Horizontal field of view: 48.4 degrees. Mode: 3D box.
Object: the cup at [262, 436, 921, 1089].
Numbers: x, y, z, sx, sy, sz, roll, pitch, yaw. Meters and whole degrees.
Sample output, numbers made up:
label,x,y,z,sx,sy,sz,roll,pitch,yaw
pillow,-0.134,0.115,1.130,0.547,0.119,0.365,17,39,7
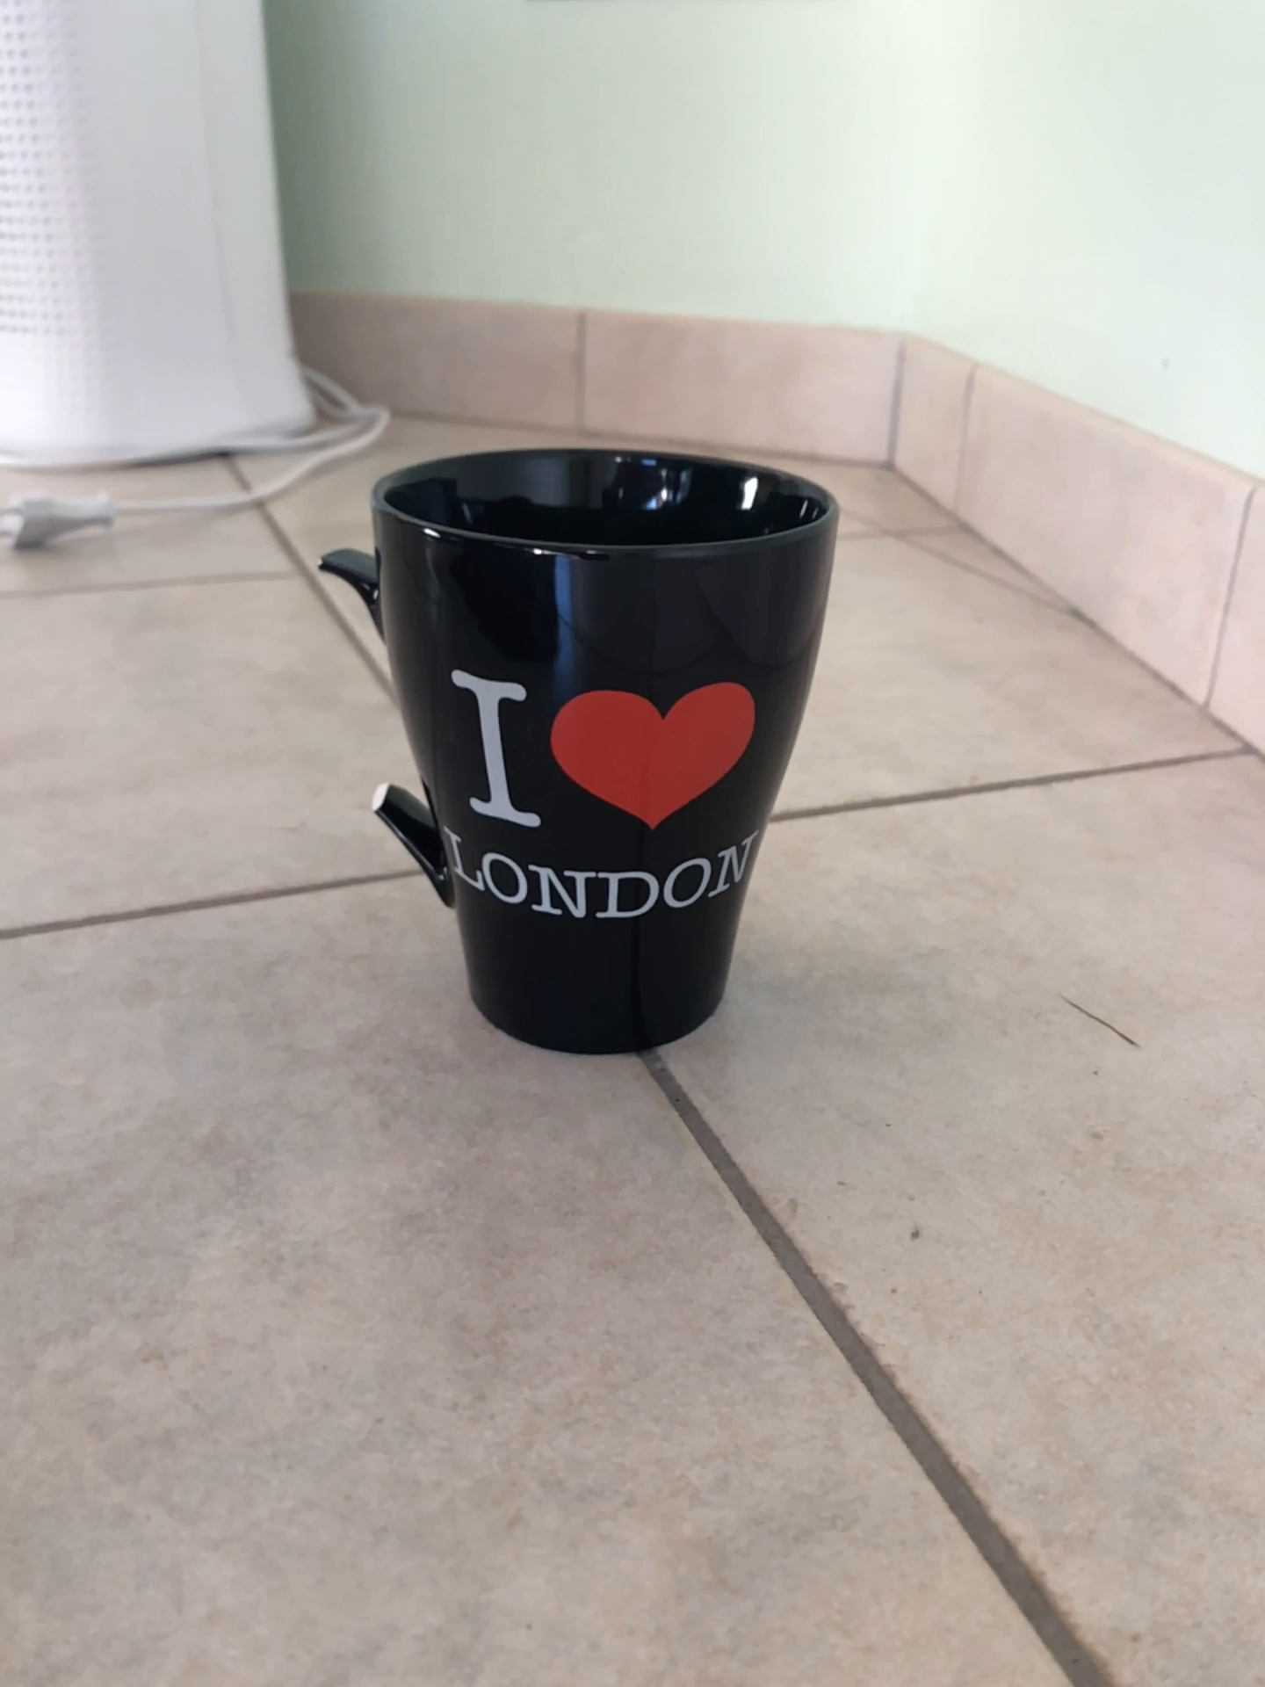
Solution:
label,x,y,z,sx,sy,sz,roll,pitch,yaw
cup,-0.006,-0.022,0.295,0.108,0.103,0.098,1,26,-1
